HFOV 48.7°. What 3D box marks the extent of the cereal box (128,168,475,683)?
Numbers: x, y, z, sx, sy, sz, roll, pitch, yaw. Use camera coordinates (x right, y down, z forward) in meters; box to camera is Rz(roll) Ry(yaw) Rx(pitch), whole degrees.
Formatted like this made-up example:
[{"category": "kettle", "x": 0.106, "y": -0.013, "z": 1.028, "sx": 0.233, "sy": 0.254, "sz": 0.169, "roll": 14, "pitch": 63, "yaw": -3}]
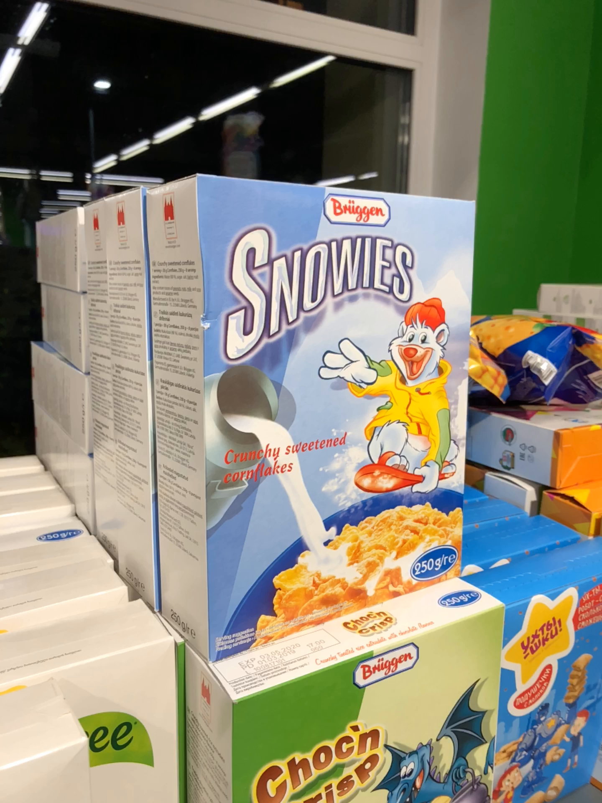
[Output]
[{"category": "cereal box", "x": 0.008, "y": 0.005, "z": 0.413, "sx": 0.200, "sy": 0.259, "sz": 0.070, "roll": -7, "pitch": 11, "yaw": -34}]
